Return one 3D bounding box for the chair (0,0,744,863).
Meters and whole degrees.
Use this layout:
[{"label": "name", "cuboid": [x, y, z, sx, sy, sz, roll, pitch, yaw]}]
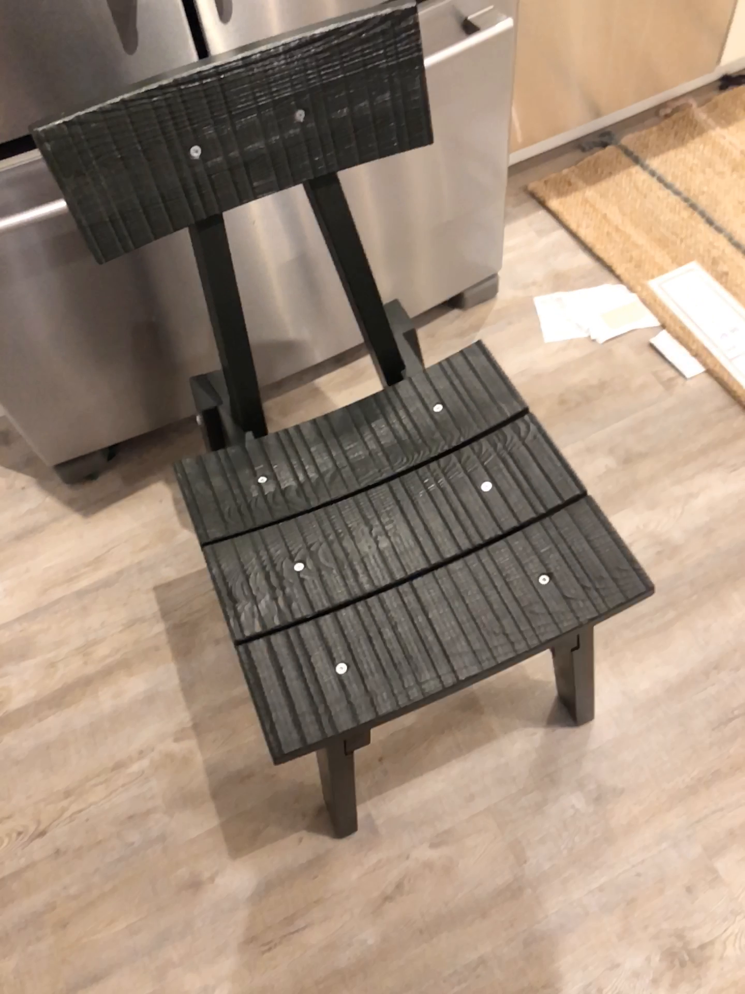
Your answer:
[{"label": "chair", "cuboid": [0.006, -0.009, 0.886, 0.520, 0.797, 0.512, -22, 61, -6]}]
